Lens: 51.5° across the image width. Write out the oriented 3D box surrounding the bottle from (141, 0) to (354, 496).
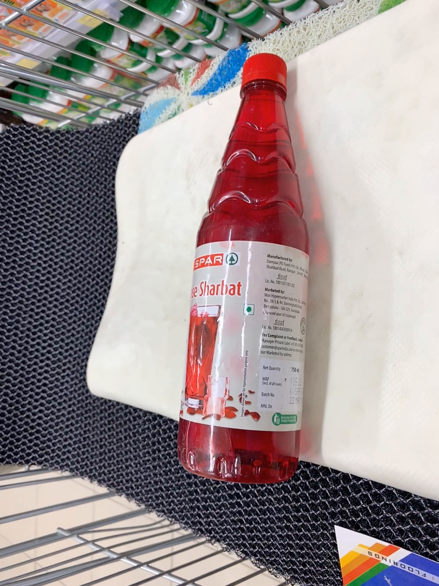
[{"bbox_3d":[0.018,-0.025,0.247,0.070,0.070,0.230,-5,78,48],"label":"bottle"}]
